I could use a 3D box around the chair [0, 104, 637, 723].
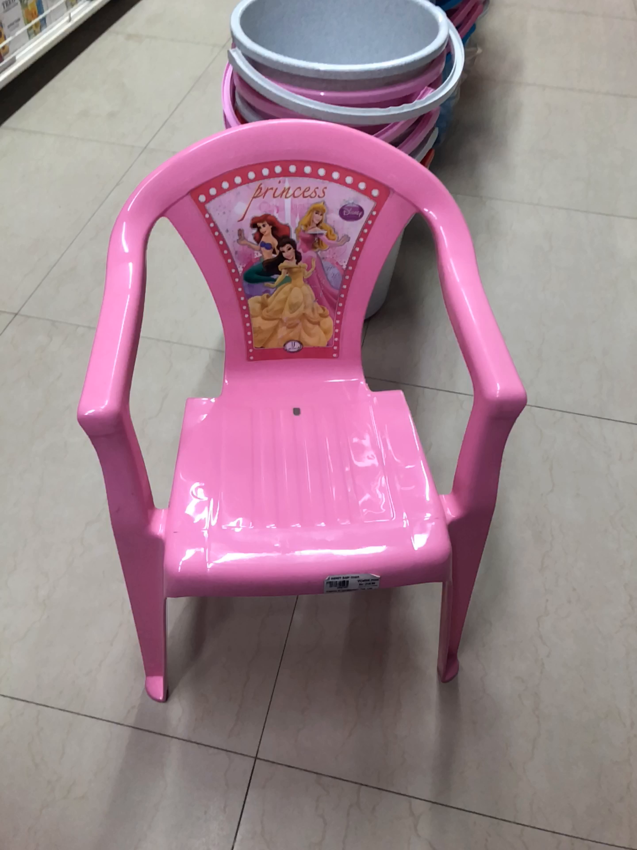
[{"bbox_3d":[-0.021,0.012,0.674,0.370,0.477,0.352,-3,49,-4],"label":"chair"}]
